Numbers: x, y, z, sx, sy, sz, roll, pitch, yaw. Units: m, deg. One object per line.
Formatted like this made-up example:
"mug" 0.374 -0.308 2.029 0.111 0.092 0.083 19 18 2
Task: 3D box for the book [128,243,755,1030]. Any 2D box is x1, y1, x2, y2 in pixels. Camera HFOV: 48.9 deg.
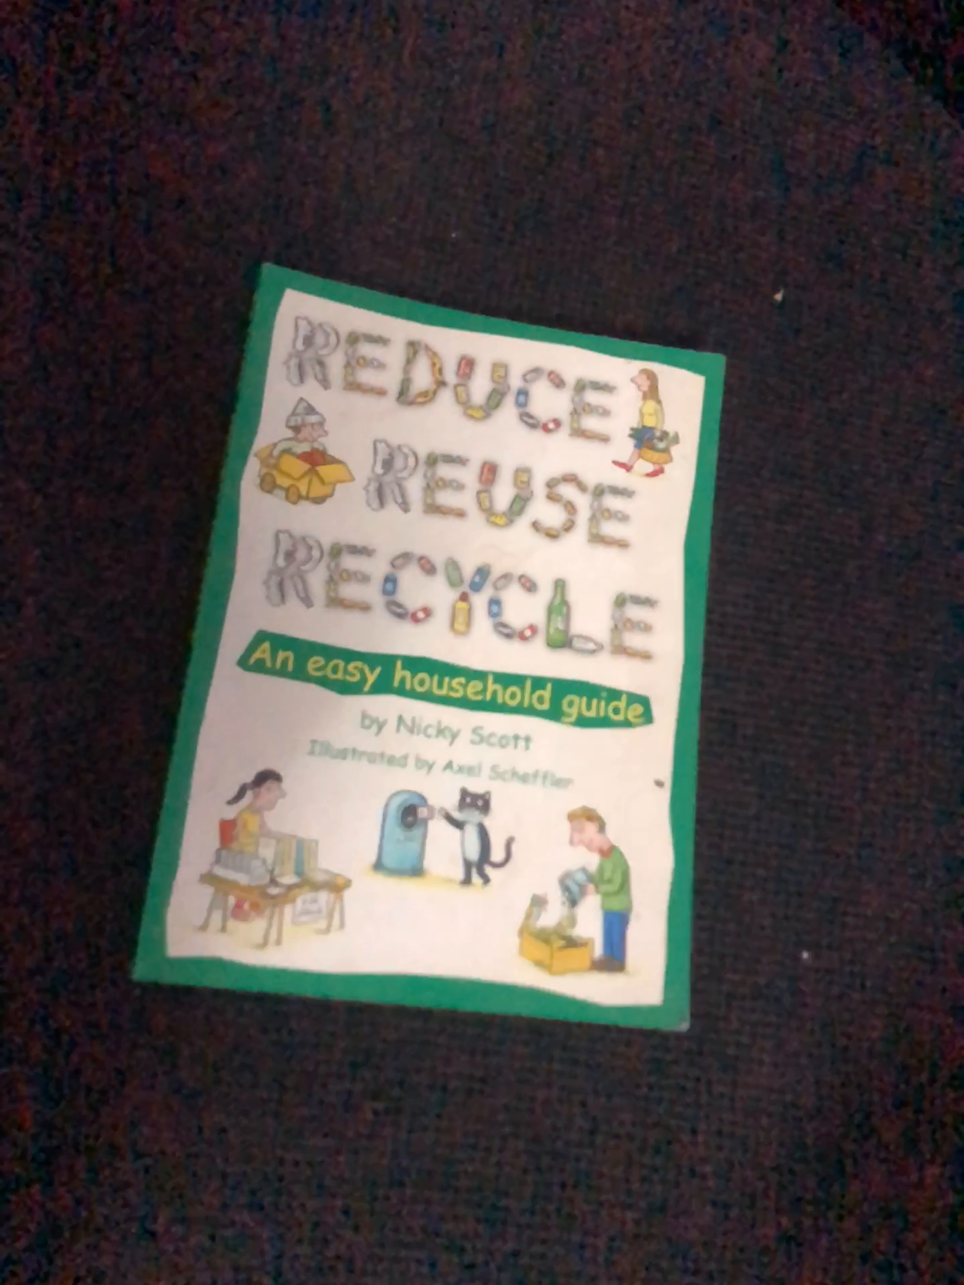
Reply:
"book" -0.002 -0.004 0.259 0.130 0.018 0.173 9 75 -9
